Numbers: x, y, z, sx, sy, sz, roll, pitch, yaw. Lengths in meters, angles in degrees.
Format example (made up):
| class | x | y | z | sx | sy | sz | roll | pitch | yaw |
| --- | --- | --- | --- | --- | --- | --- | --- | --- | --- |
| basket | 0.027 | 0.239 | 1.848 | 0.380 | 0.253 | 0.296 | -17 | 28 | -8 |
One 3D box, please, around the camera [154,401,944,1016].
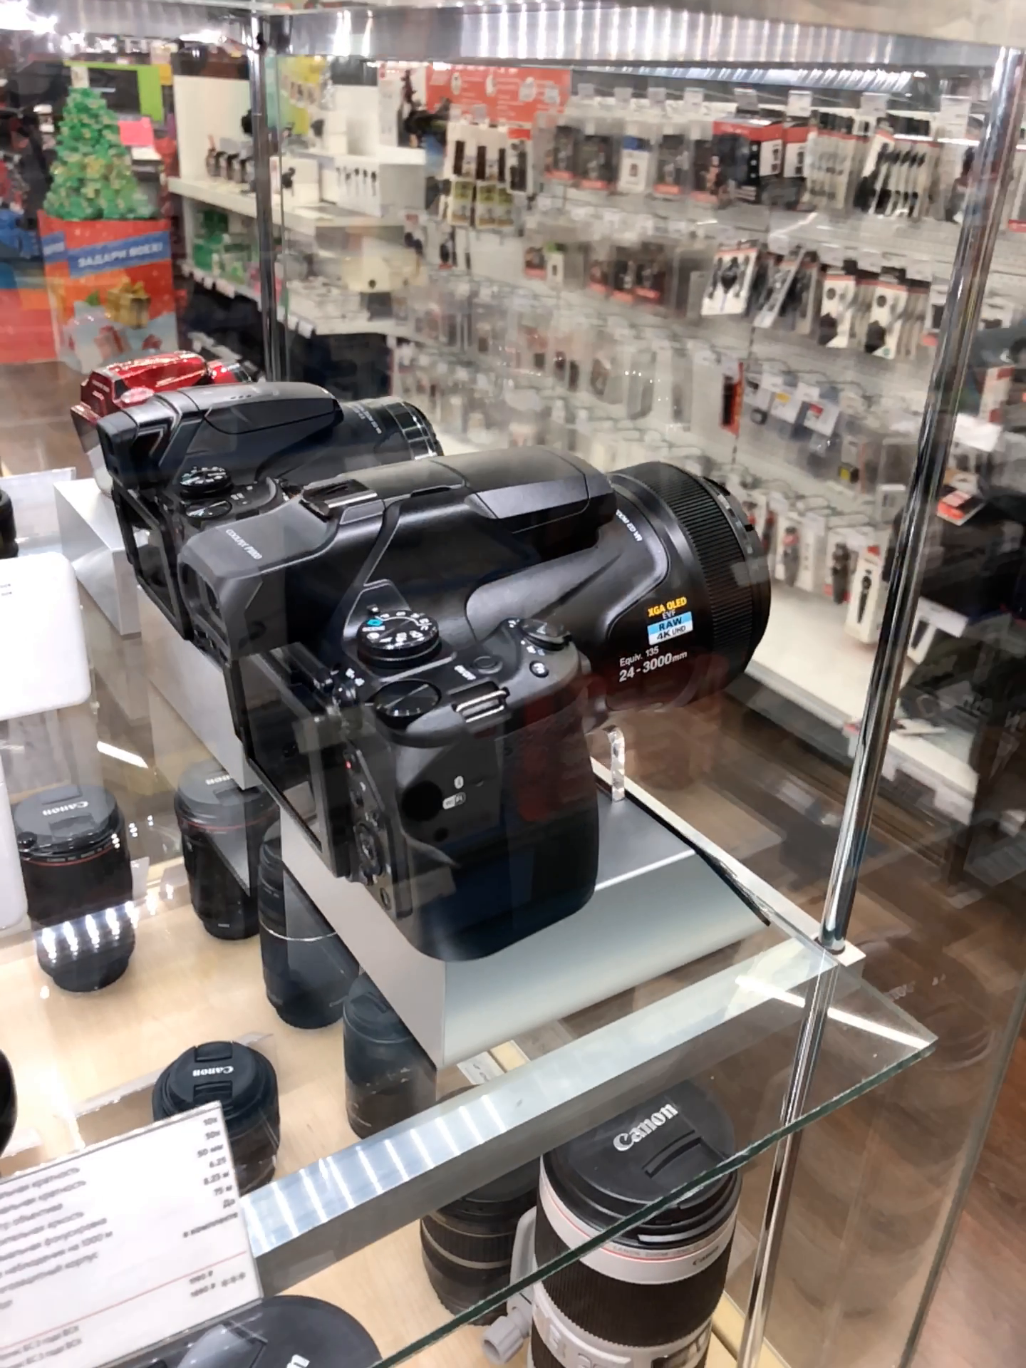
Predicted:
| class | x | y | z | sx | sy | sz | roll | pitch | yaw |
| --- | --- | --- | --- | --- | --- | --- | --- | --- | --- |
| camera | 0.006 | -0.014 | 0.391 | 0.200 | 0.113 | 0.161 | -14 | 31 | -30 |
